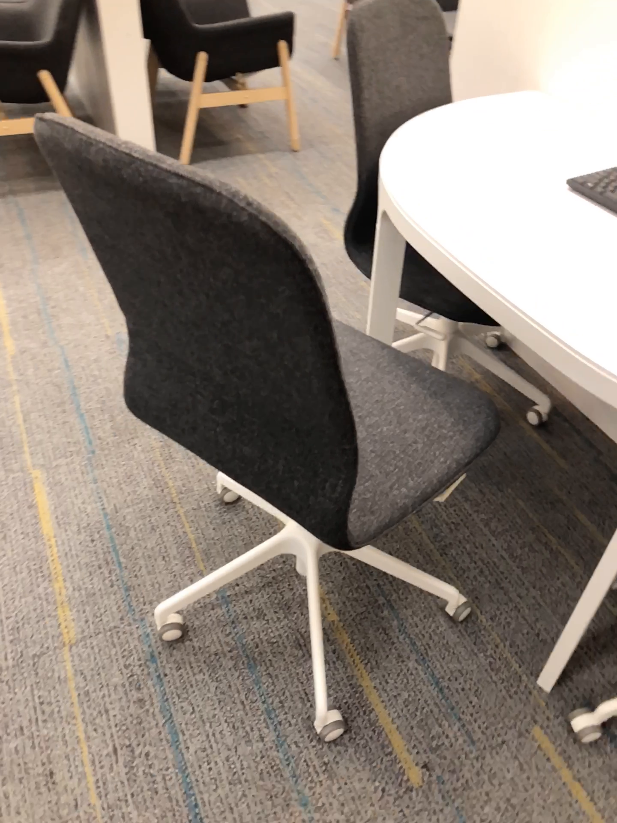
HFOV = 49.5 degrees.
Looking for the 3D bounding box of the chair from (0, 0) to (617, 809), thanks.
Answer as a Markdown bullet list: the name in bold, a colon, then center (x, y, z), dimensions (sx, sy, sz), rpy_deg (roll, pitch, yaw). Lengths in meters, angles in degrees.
- **chair**: center (-0.013, -0.015, 1.106), dimensions (0.633, 0.993, 0.632), rpy_deg (32, 49, 29)
